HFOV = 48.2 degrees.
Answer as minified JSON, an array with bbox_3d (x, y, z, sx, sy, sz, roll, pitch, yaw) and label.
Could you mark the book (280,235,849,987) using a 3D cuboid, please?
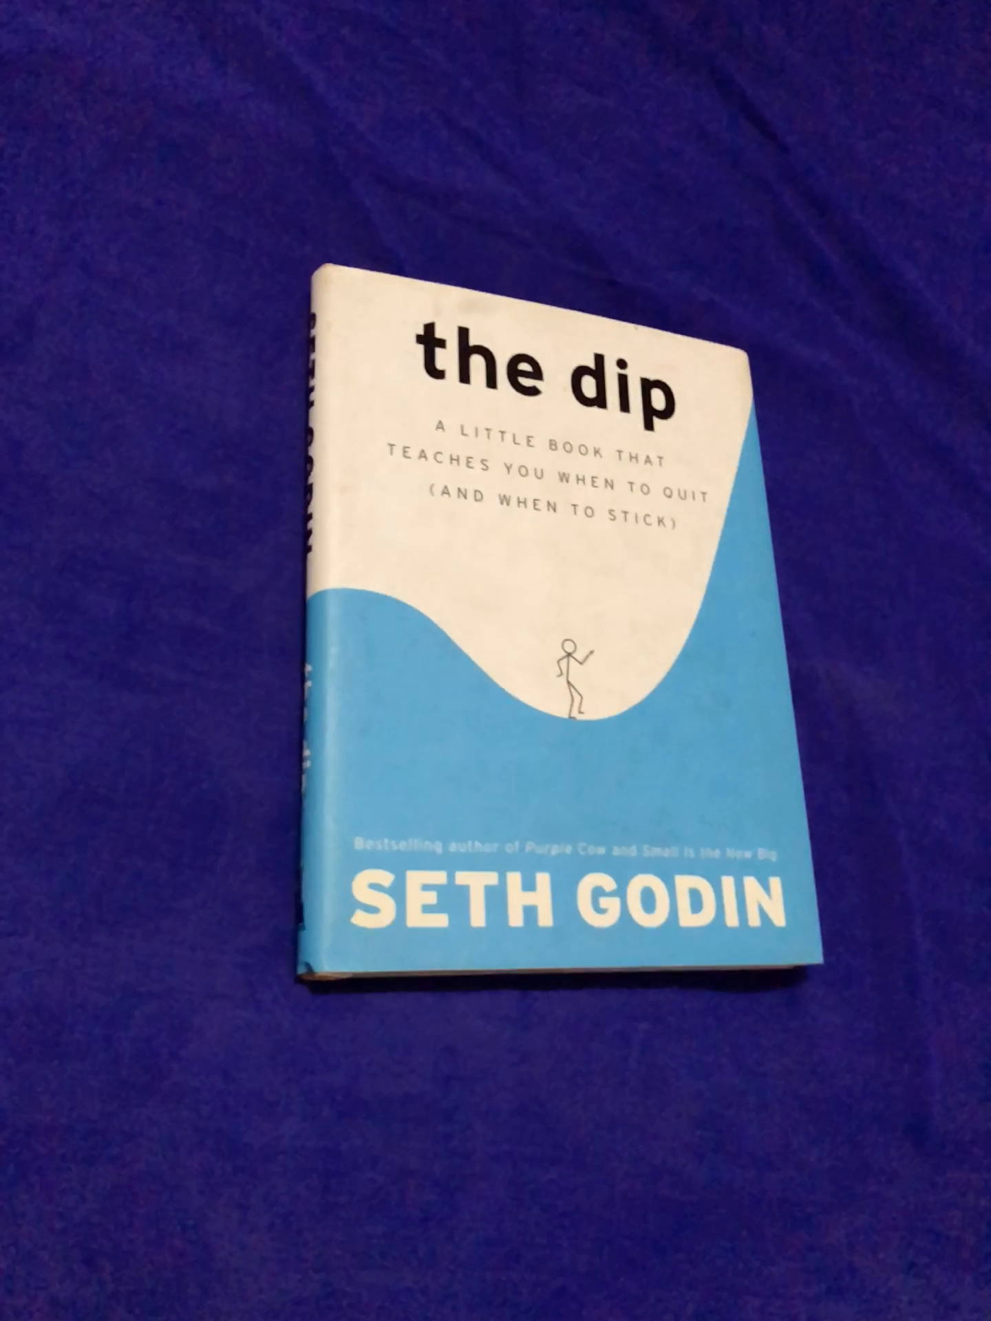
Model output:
[{"bbox_3d":[0.016,-0.015,0.295,0.140,0.020,0.190,5,69,-21],"label":"book"}]
